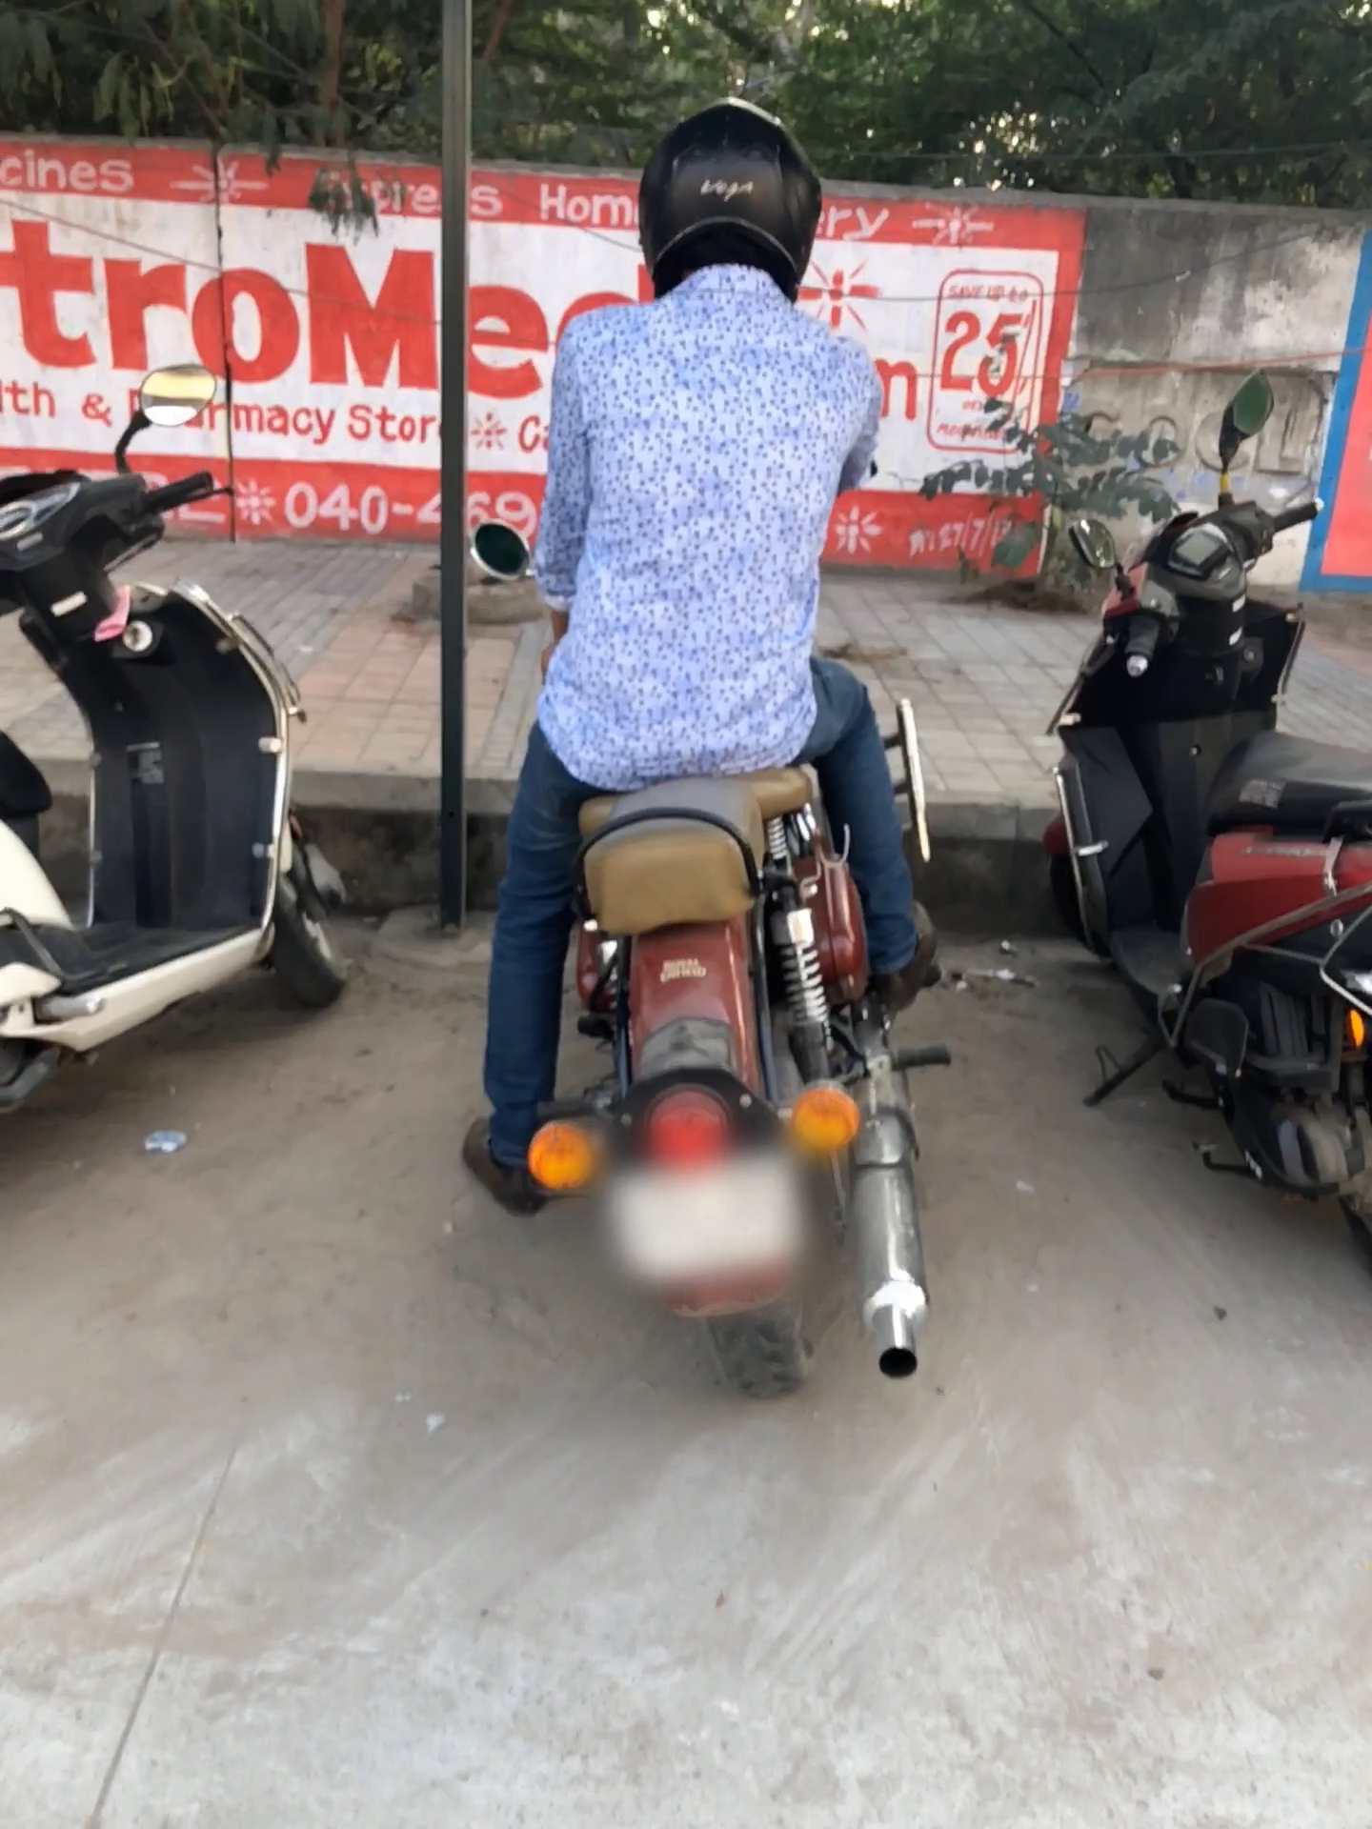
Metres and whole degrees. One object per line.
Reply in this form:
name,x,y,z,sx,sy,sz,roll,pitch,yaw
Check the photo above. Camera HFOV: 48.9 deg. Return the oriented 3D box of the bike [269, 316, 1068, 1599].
bike,-0.047,-0.137,2.389,0.792,1.257,1.558,3,26,0
